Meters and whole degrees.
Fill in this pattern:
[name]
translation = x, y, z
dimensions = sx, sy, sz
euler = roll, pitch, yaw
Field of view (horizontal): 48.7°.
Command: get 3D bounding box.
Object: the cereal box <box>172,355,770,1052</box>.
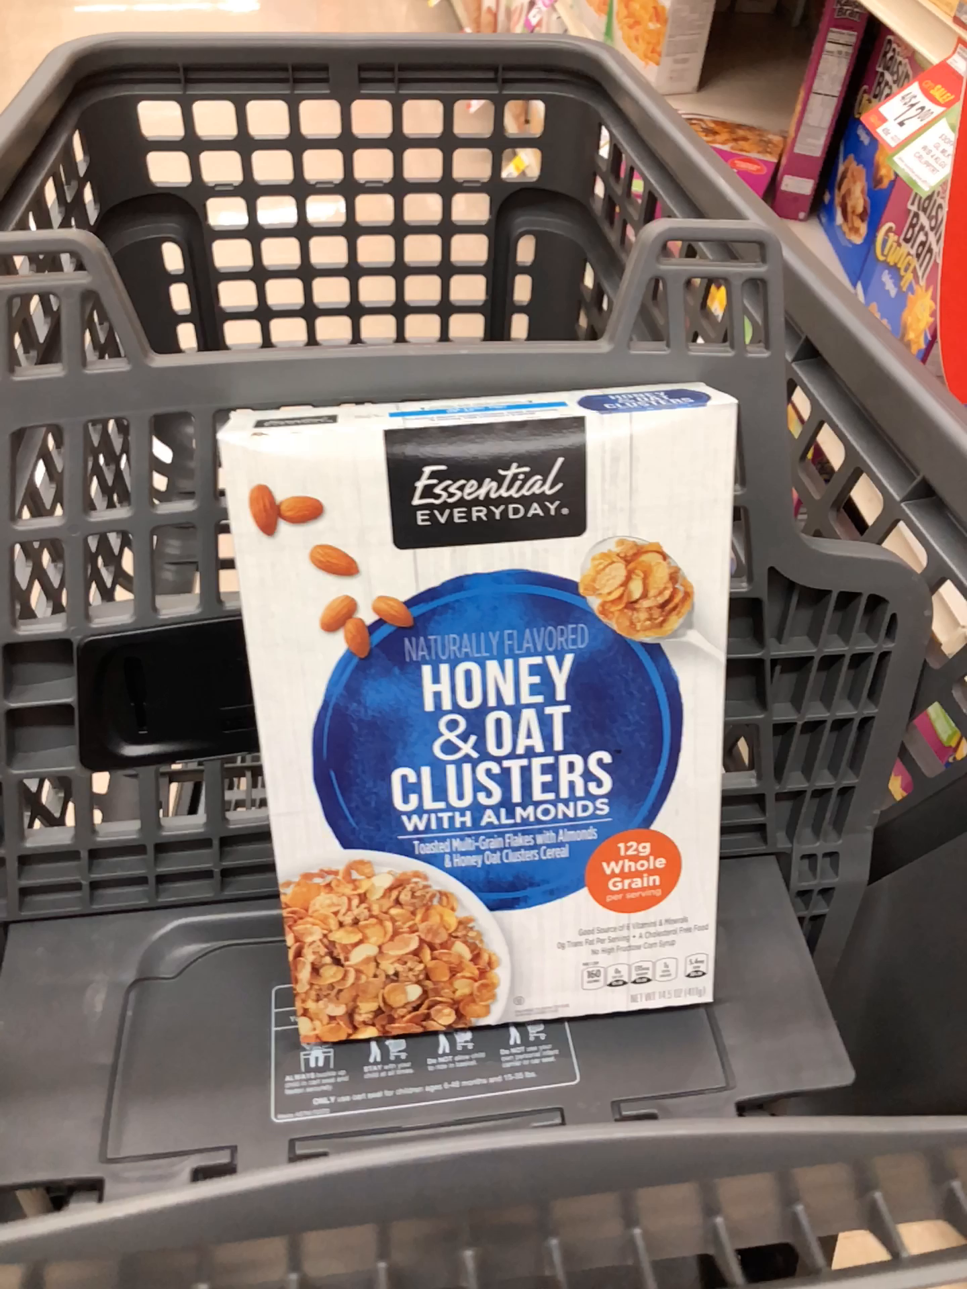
[cereal box]
translation = 0.000, 0.030, 0.452
dimensions = 0.210, 0.280, 0.060
euler = -4, 22, -4
